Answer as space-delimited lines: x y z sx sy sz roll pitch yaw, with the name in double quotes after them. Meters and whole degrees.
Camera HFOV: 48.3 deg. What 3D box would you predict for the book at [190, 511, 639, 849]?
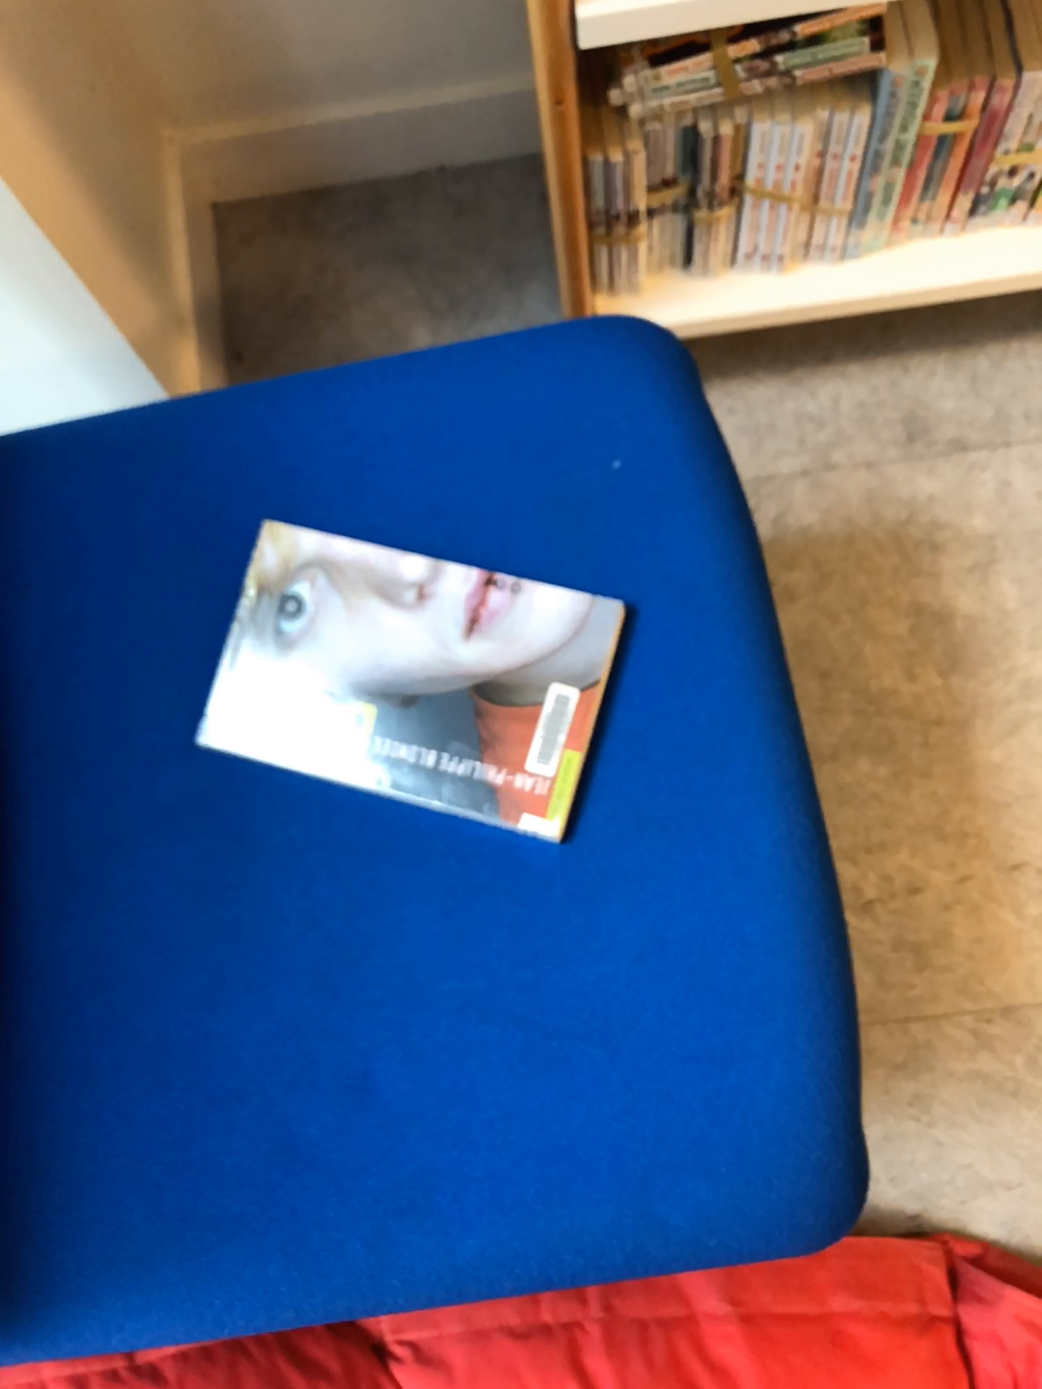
-0.059 -0.012 0.651 0.220 0.019 0.142 14 77 10 "book"
